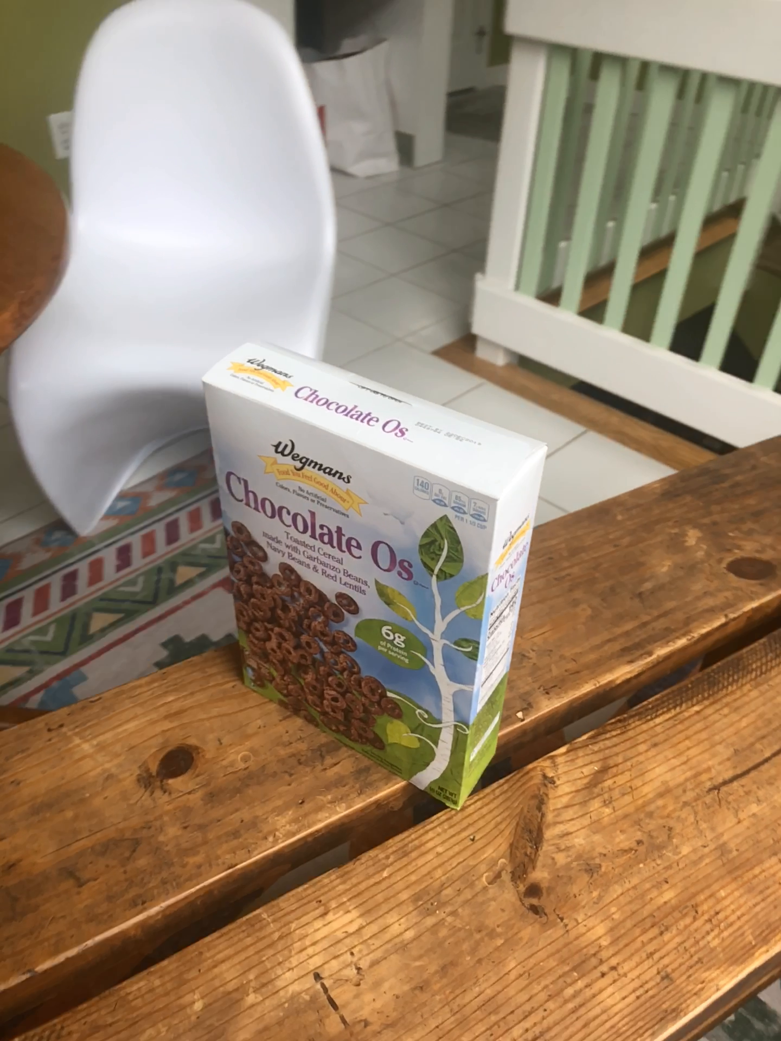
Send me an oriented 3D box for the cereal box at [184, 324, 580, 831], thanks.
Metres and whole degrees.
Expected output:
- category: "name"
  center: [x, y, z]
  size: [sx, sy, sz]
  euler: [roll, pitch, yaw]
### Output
- category: "cereal box"
  center: [-0.013, 0.044, 0.542]
  size: [0.210, 0.278, 0.060]
  euler: [24, 45, 24]
